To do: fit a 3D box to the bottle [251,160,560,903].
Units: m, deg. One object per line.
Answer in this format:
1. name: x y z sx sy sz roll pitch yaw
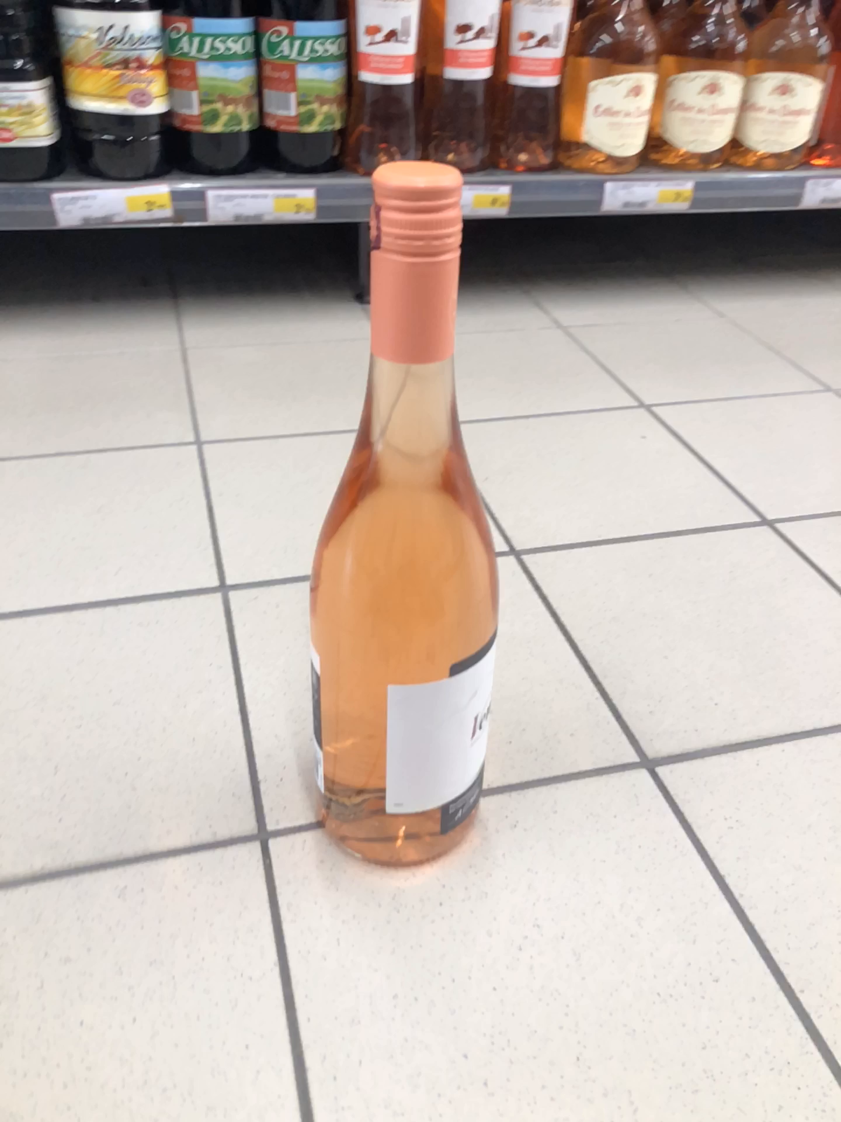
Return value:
1. bottle: -0.006 0.002 0.367 0.080 0.278 0.091 9 34 8
